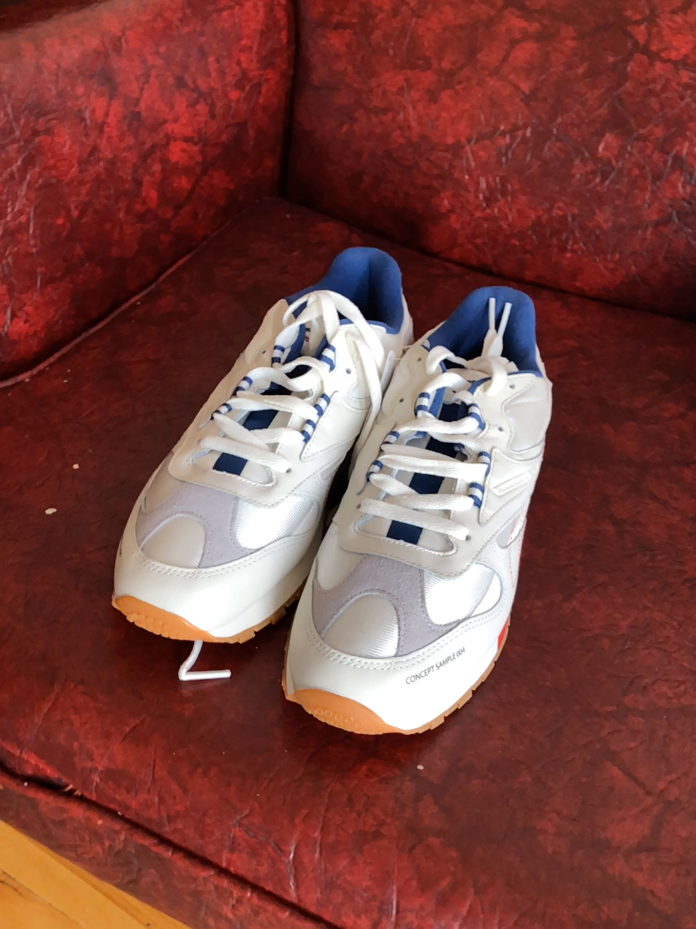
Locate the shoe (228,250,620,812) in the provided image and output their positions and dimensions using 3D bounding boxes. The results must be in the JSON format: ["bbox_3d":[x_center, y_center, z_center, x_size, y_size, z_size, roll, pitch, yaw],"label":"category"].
[{"bbox_3d":[0.053,0.013,0.405,0.110,0.099,0.272,18,50,12],"label":"shoe"}]

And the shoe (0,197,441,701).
[{"bbox_3d":[-0.047,-0.029,0.432,0.110,0.099,0.272,18,50,12],"label":"shoe"}]
